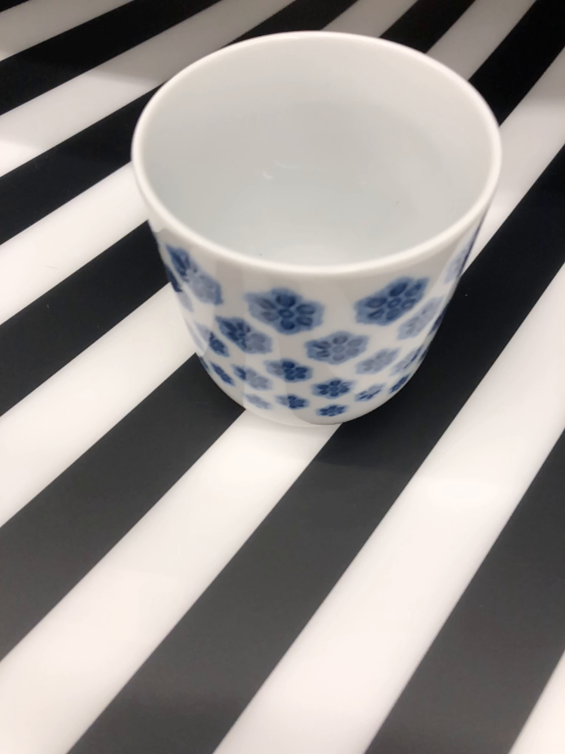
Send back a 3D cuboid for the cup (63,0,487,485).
[{"bbox_3d":[0.005,-0.031,0.158,0.070,0.080,0.080,7,58,6],"label":"cup"}]
